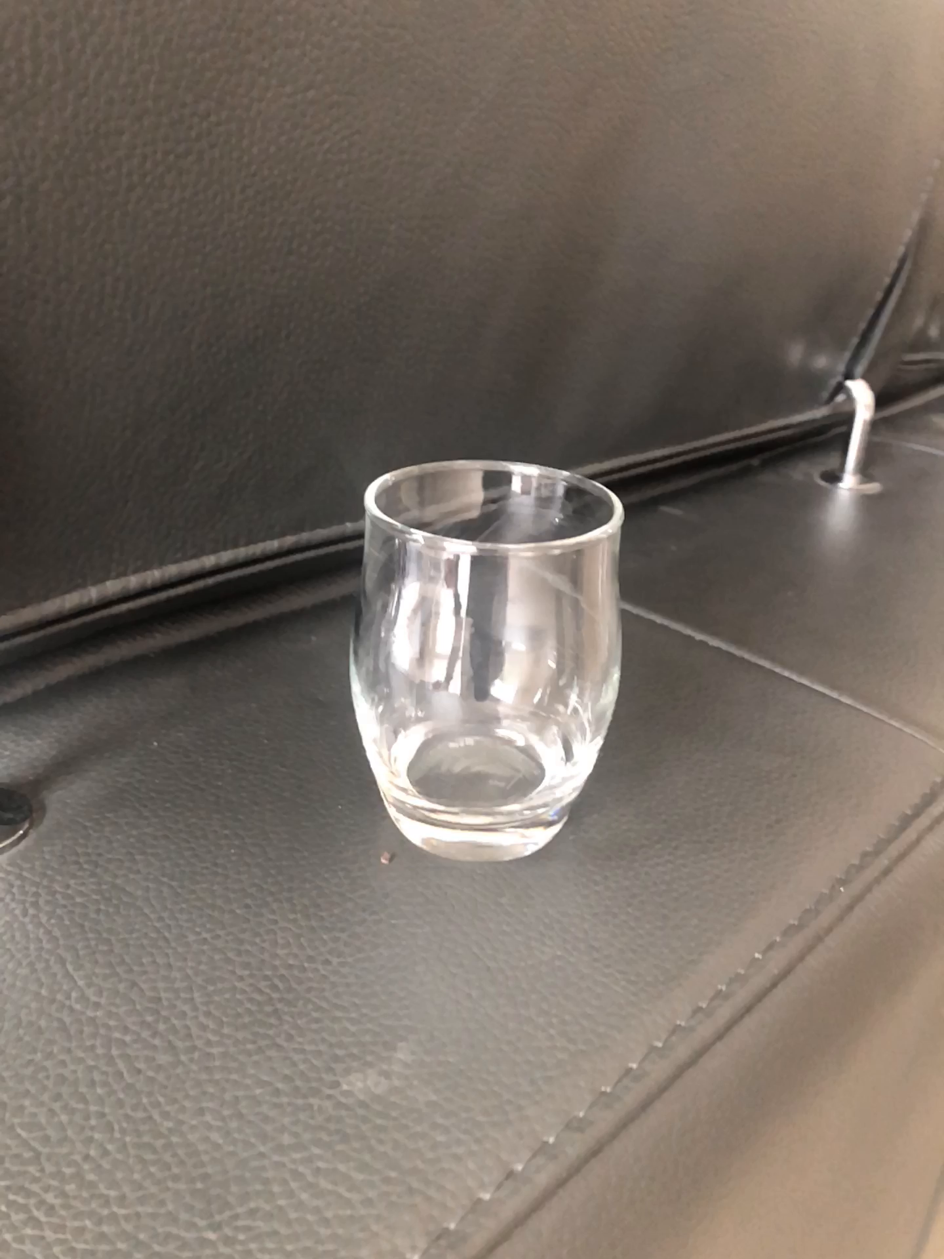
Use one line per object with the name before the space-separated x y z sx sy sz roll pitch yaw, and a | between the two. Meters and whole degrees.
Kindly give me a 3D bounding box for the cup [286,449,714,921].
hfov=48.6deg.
cup | 0.003 0.008 0.291 0.080 0.089 0.080 3 25 -1
